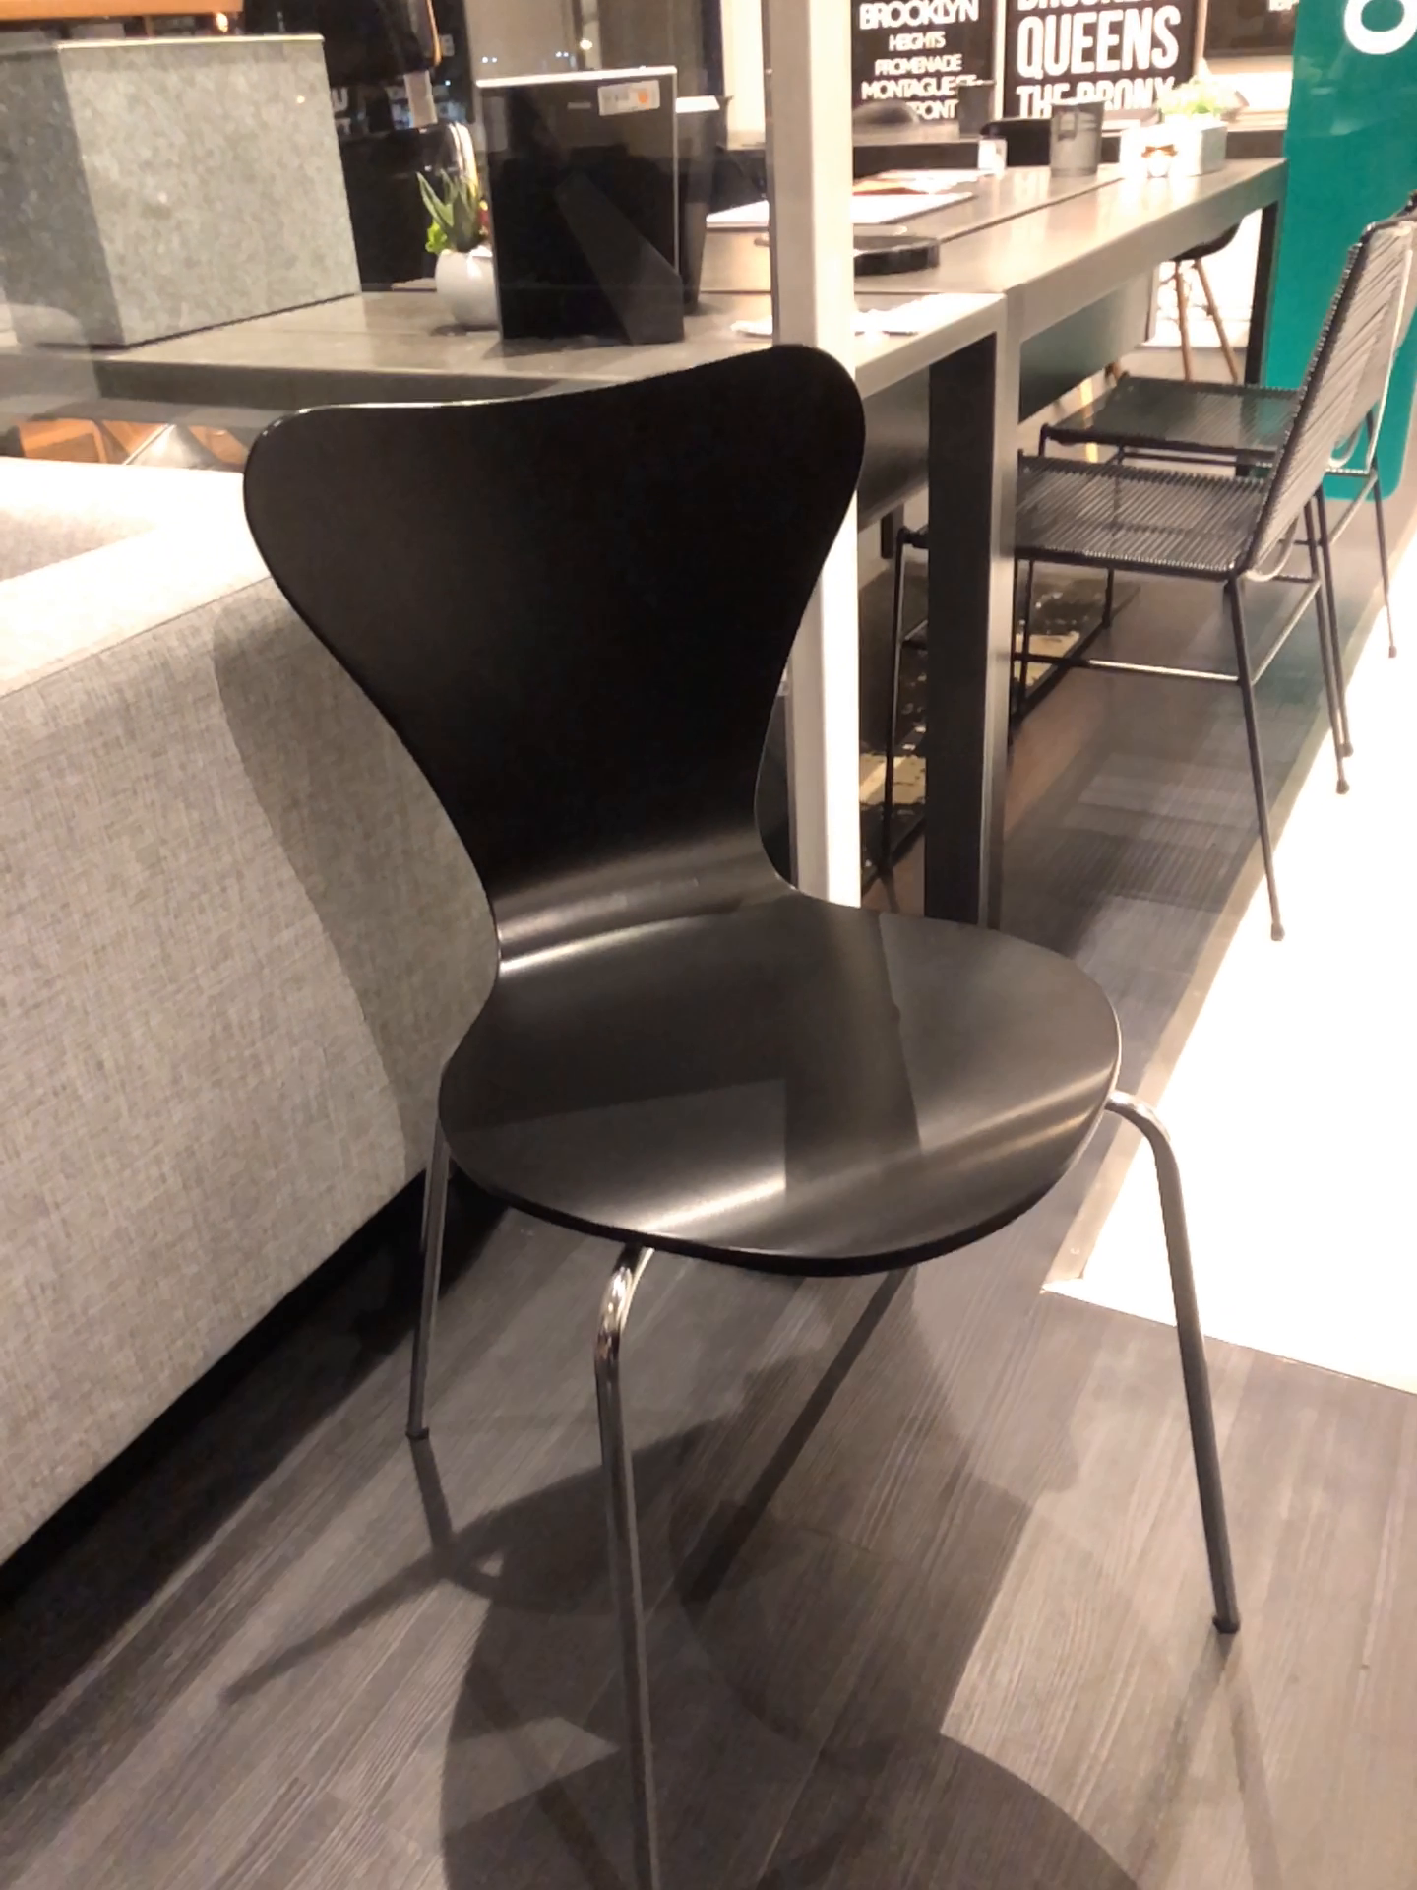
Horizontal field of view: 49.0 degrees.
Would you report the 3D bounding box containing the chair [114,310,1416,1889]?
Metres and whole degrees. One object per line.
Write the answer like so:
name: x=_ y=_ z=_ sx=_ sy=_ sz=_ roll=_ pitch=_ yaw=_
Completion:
chair: x=0.017 y=0.084 z=0.975 sx=0.491 sy=0.804 sz=0.503 roll=-17 pitch=31 yaw=-22
